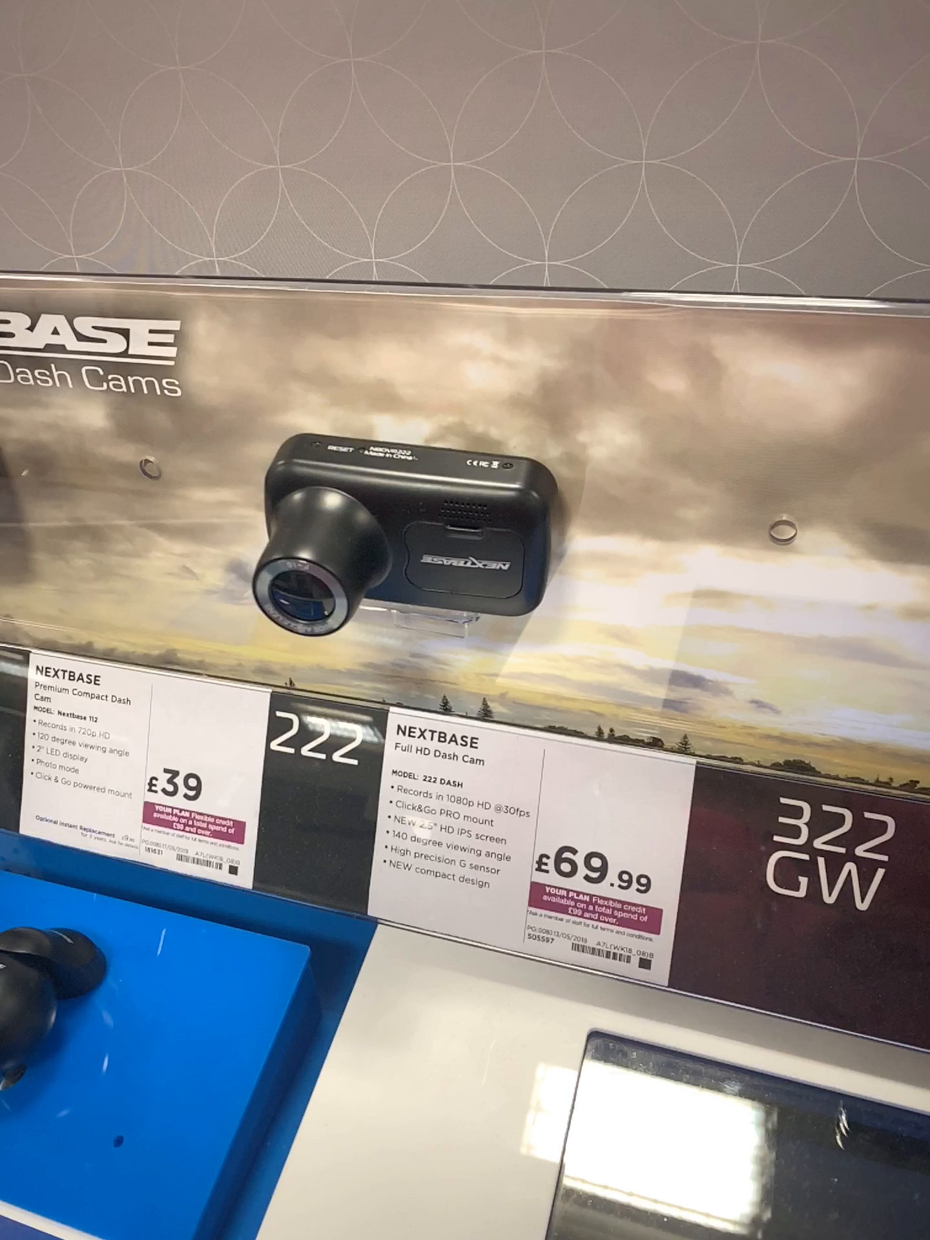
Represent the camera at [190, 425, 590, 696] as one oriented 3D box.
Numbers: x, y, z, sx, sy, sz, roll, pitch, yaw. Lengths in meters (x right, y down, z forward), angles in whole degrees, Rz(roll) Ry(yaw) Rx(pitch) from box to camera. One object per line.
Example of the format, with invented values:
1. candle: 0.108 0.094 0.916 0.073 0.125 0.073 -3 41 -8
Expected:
1. camera: -0.017 -0.018 0.256 0.090 0.040 0.050 8 40 15
